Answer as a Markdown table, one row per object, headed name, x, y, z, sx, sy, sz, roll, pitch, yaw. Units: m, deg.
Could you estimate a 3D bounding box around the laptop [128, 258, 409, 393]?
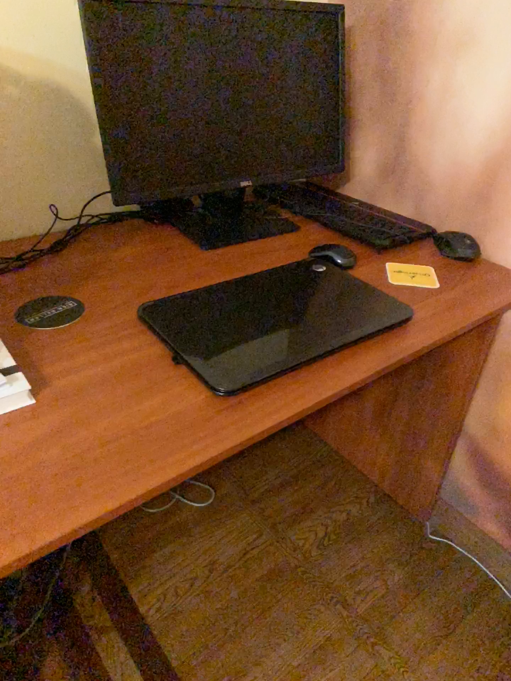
| name | x | y | z | sx | sy | sz | roll | pitch | yaw |
| --- | --- | --- | --- | --- | --- | --- | --- | --- | --- |
| laptop | 0.026 | -0.047 | 0.837 | 0.382 | 0.001 | 0.243 | -20 | 40 | -31 |
